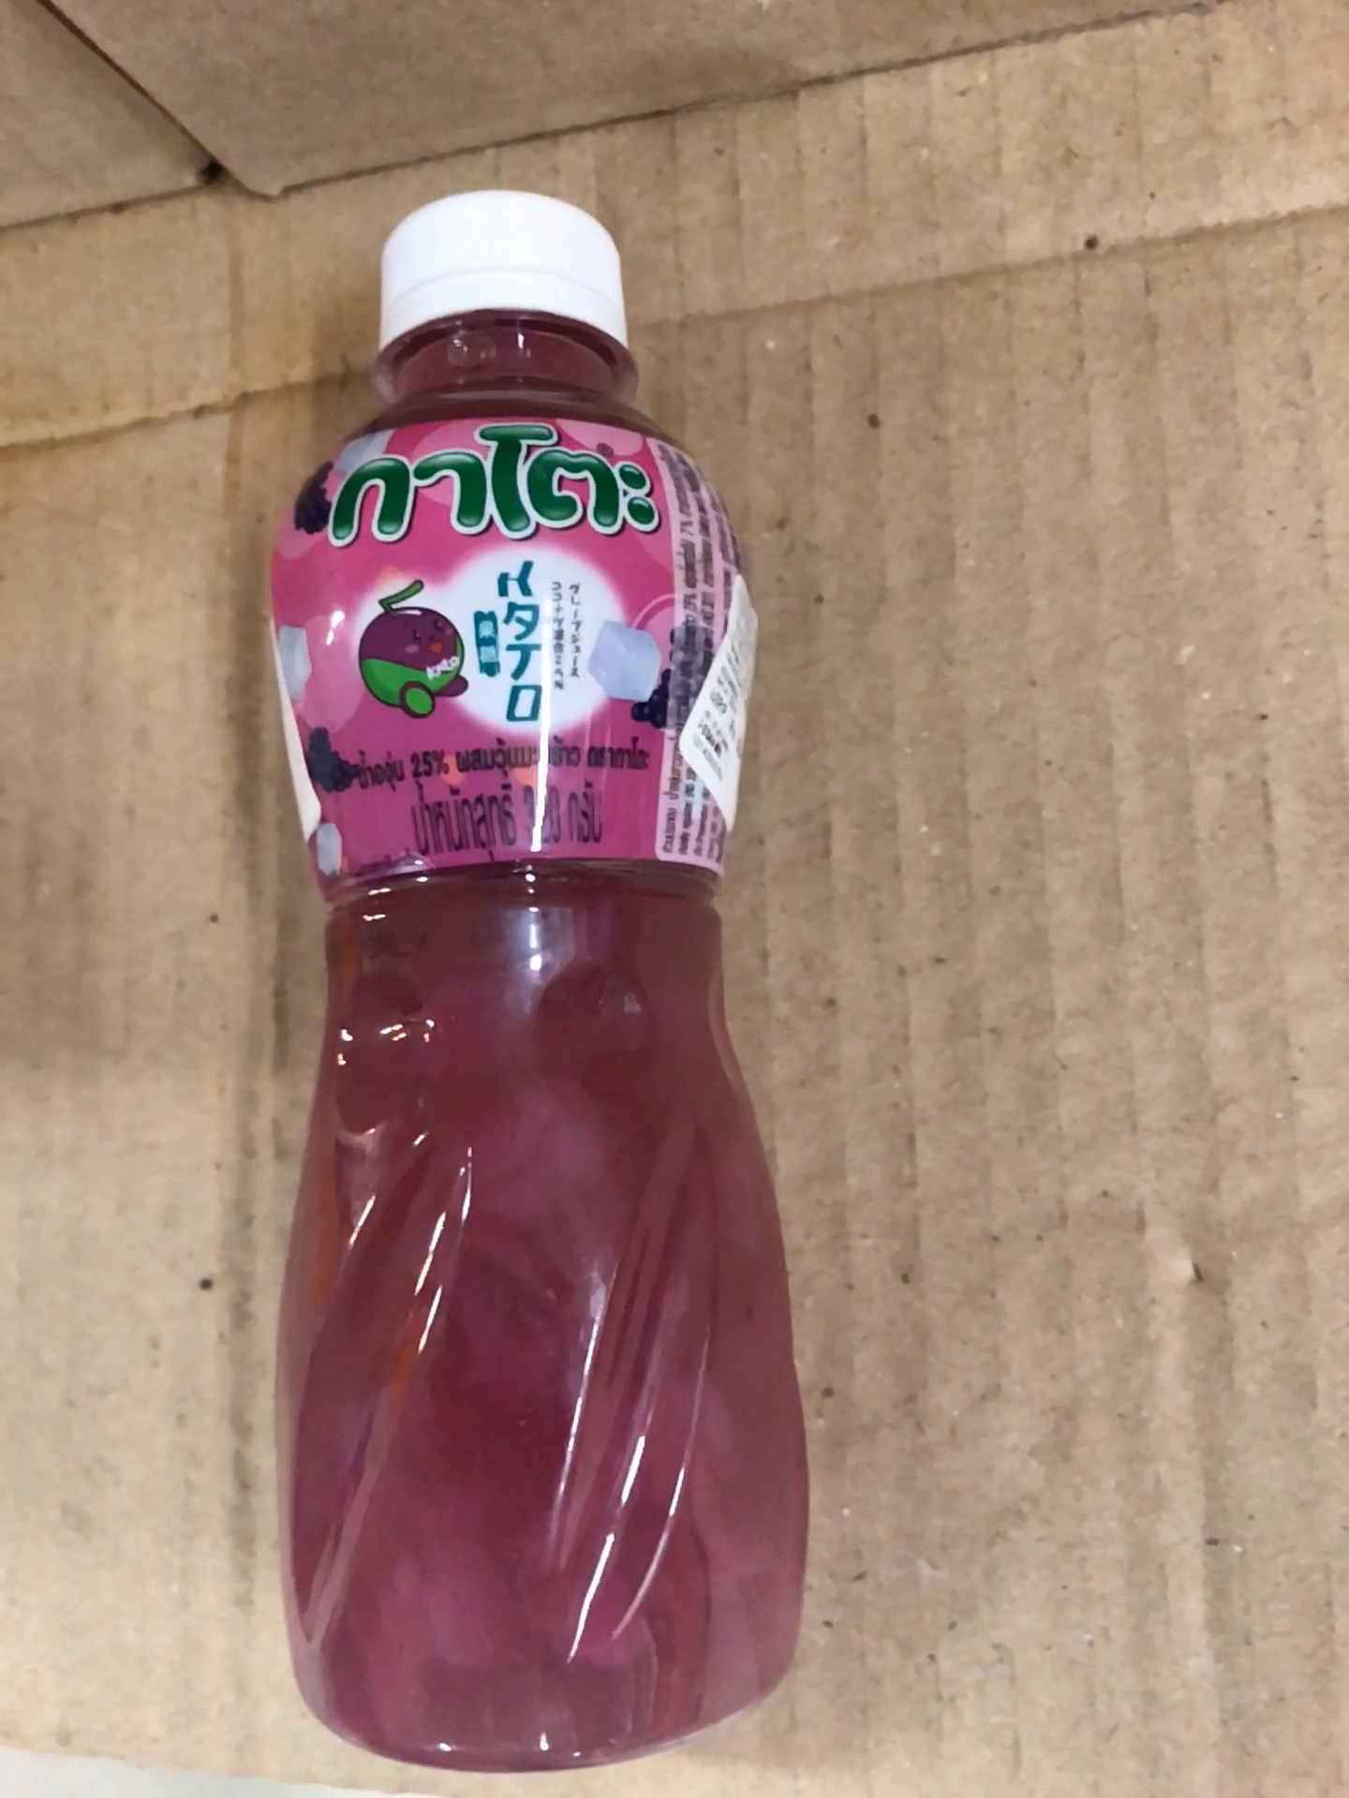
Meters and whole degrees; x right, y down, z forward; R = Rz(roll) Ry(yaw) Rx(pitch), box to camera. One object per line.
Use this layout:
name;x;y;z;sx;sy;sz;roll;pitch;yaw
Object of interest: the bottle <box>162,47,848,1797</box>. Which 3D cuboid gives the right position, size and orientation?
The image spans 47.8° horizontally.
bottle;-0.017;0.004;0.169;0.060;0.050;0.170;-4;82;8
